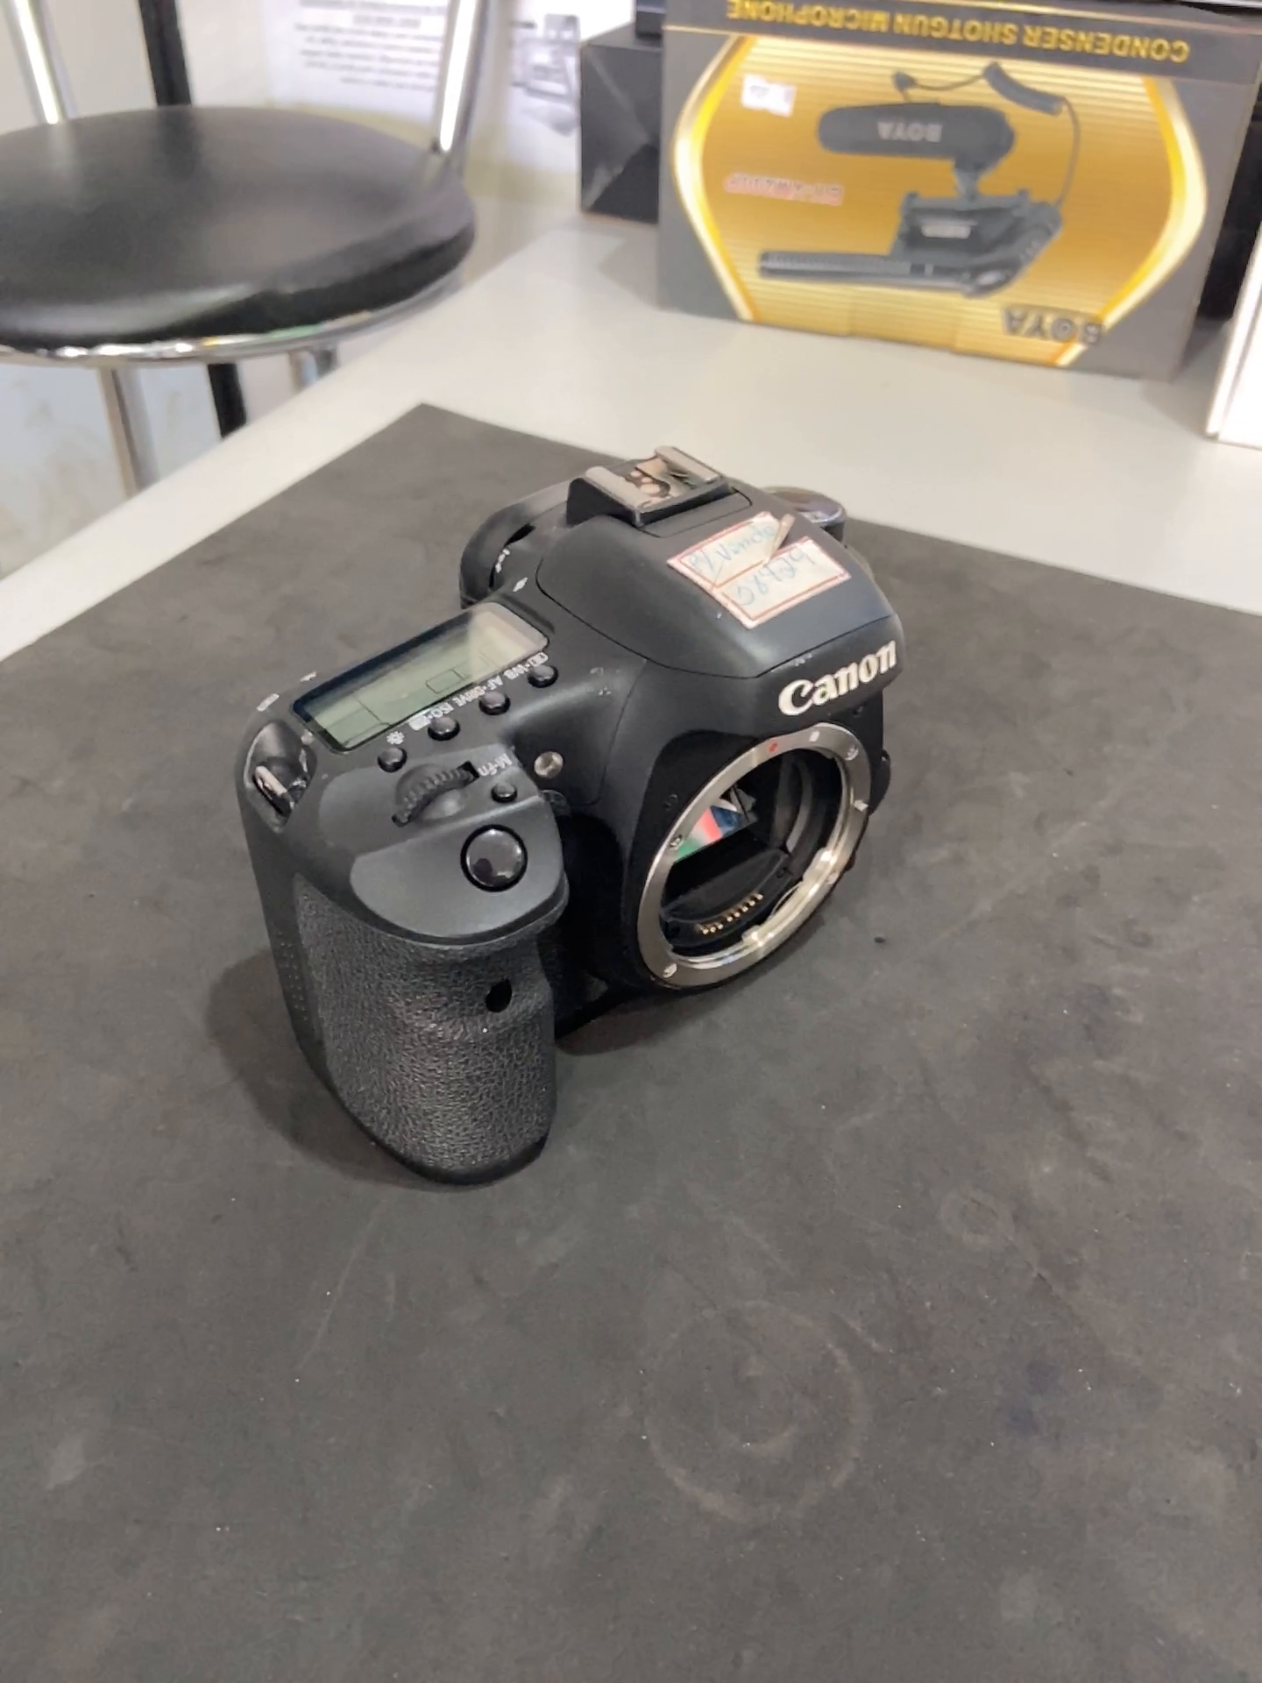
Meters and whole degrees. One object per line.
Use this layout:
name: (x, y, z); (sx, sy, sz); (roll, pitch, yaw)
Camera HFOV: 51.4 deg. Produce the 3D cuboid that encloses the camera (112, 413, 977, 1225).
camera: (-0.013, -0.014, 0.291); (0.152, 0.101, 0.083); (-29, 48, -30)
